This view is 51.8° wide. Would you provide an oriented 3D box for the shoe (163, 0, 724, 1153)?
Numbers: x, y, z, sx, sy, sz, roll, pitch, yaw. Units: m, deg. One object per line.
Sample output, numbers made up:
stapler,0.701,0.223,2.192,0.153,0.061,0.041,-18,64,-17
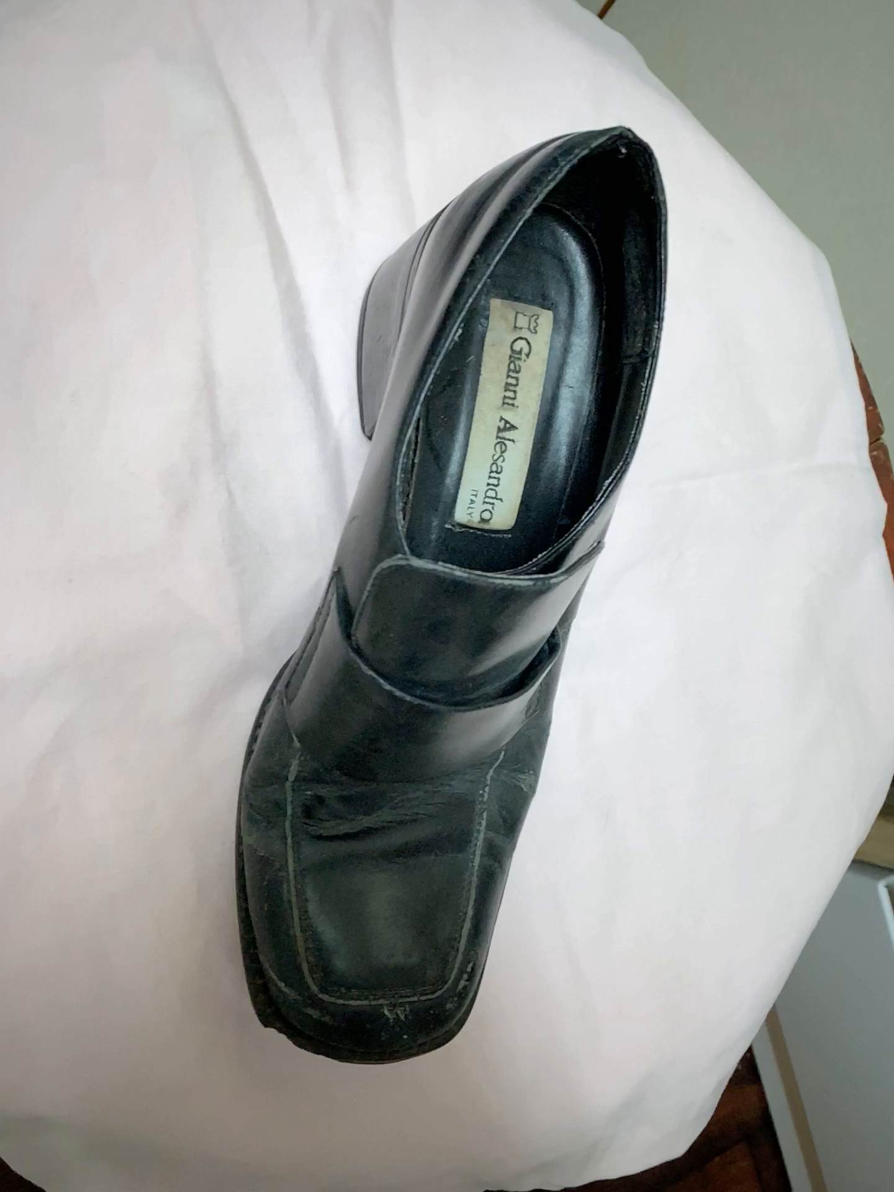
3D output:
shoe,-0.004,-0.005,0.241,0.090,0.092,0.240,11,81,-18
